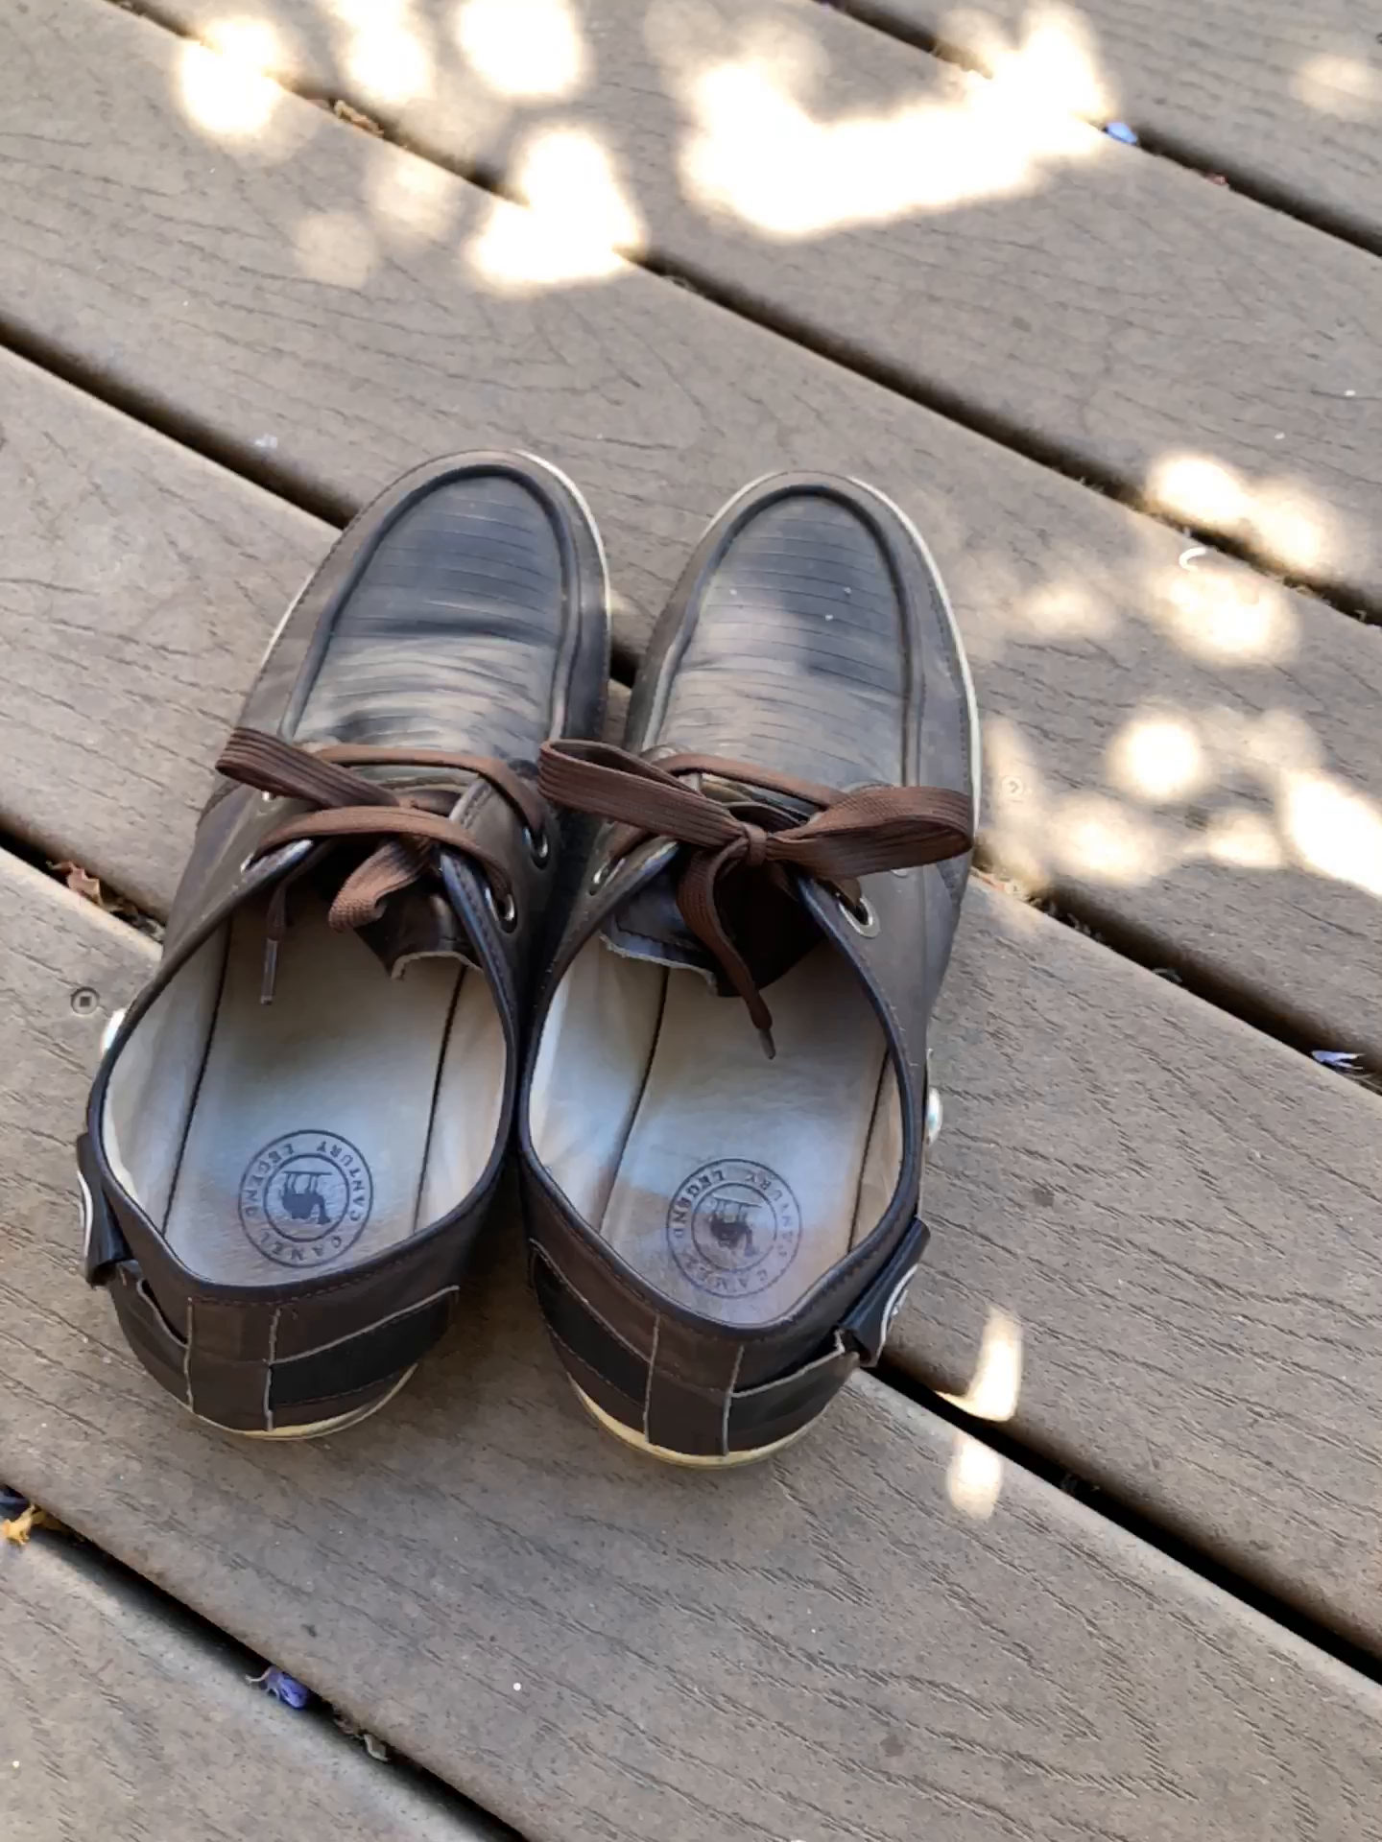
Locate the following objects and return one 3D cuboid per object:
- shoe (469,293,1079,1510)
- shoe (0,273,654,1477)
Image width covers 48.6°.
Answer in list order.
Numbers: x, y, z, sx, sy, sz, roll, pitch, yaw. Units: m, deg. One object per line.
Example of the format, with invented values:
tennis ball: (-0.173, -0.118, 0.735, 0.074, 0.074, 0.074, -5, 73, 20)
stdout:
shoe: (0.027, -0.007, 0.405, 0.107, 0.105, 0.289, 9, 70, 0)
shoe: (-0.087, -0.011, 0.410, 0.107, 0.115, 0.288, 9, 70, 0)
